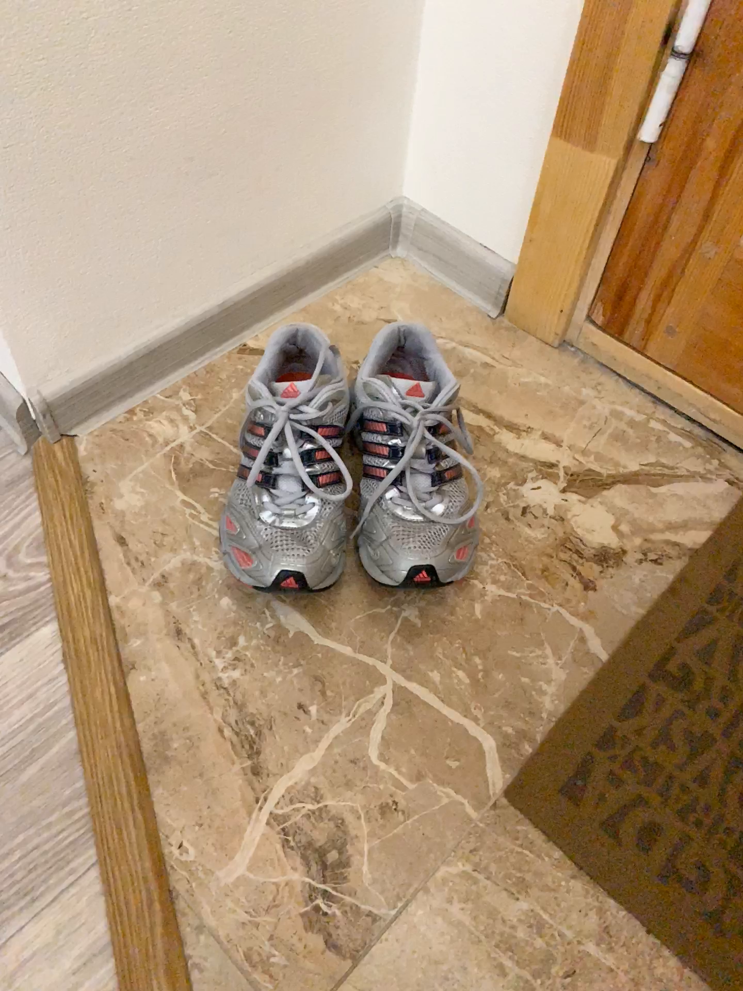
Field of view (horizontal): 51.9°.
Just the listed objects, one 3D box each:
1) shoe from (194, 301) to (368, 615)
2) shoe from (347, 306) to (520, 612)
[{"bbox_3d":[-0.061,-0.037,0.598,0.110,0.090,0.241,3,52,-3],"label":"shoe"},{"bbox_3d":[0.038,-0.036,0.610,0.110,0.090,0.241,2,52,-4],"label":"shoe"}]
